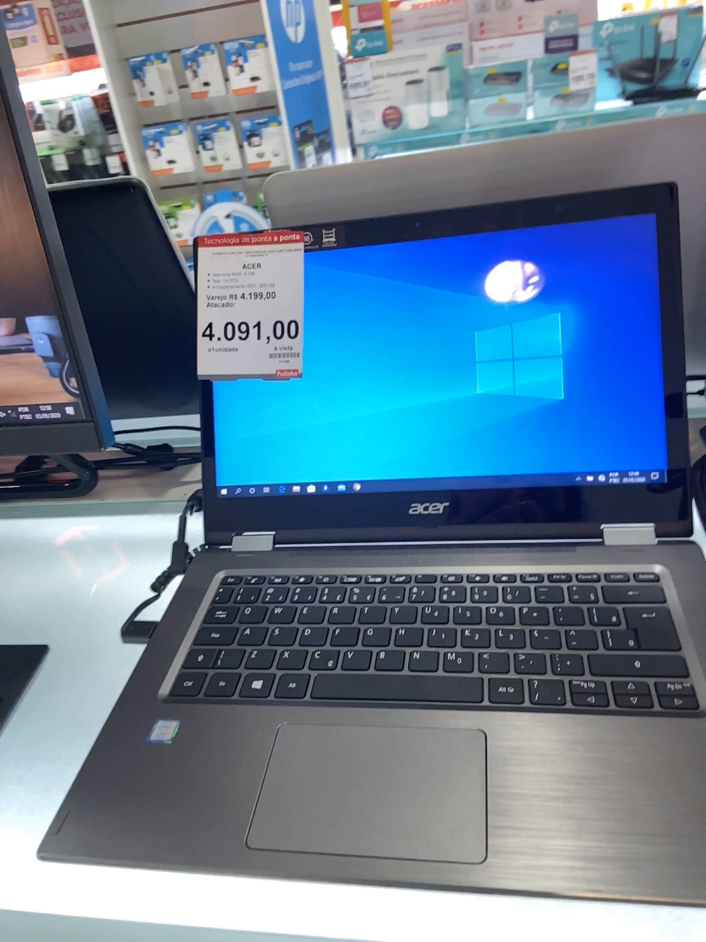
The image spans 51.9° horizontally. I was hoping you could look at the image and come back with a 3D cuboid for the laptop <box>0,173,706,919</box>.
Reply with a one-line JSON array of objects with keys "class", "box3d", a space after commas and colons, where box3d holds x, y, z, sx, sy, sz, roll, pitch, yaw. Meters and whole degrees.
[{"class": "laptop", "box3d": [0.029, -0.008, 0.396, 0.328, 0.187, 0.358, -3, 31, 12]}]
